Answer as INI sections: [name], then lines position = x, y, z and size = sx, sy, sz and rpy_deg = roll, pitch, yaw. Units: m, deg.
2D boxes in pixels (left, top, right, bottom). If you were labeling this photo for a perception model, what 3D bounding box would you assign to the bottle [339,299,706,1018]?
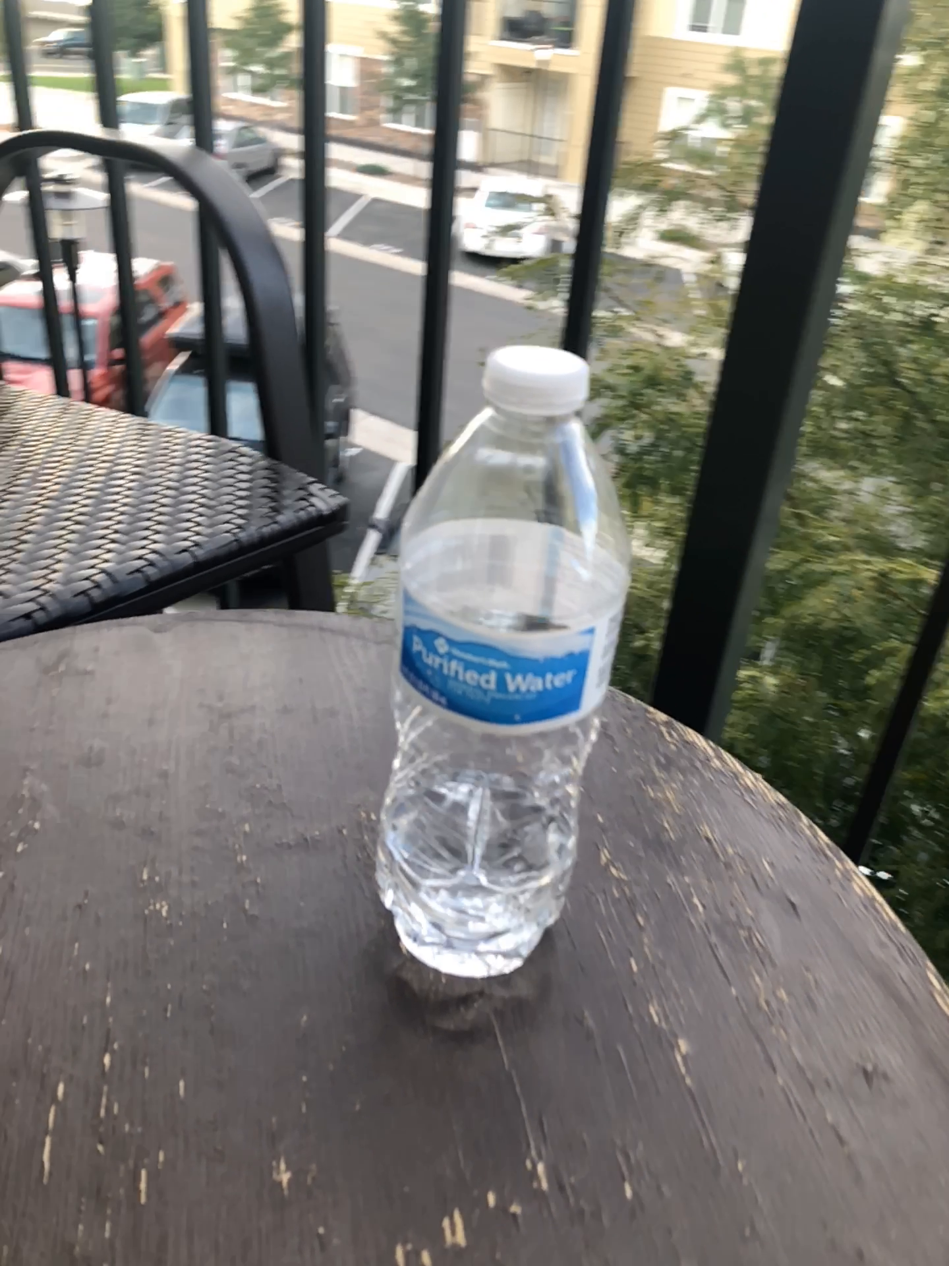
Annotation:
[bottle]
position = 0.010, 0.011, 0.312
size = 0.074, 0.189, 0.080
rpy_deg = 4, 31, -2
